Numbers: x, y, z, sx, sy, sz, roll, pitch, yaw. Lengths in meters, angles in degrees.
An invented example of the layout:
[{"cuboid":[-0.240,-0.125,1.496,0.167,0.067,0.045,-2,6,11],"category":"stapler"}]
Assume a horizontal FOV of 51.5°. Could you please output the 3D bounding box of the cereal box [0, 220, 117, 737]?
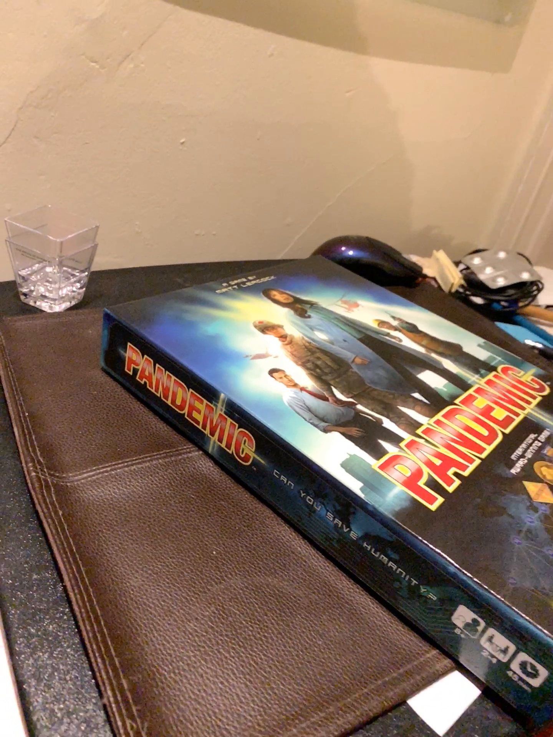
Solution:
[{"cuboid":[-0.615,0.380,0.888,0.510,0.994,0.473,16,32,3],"category":"cereal box"}]
